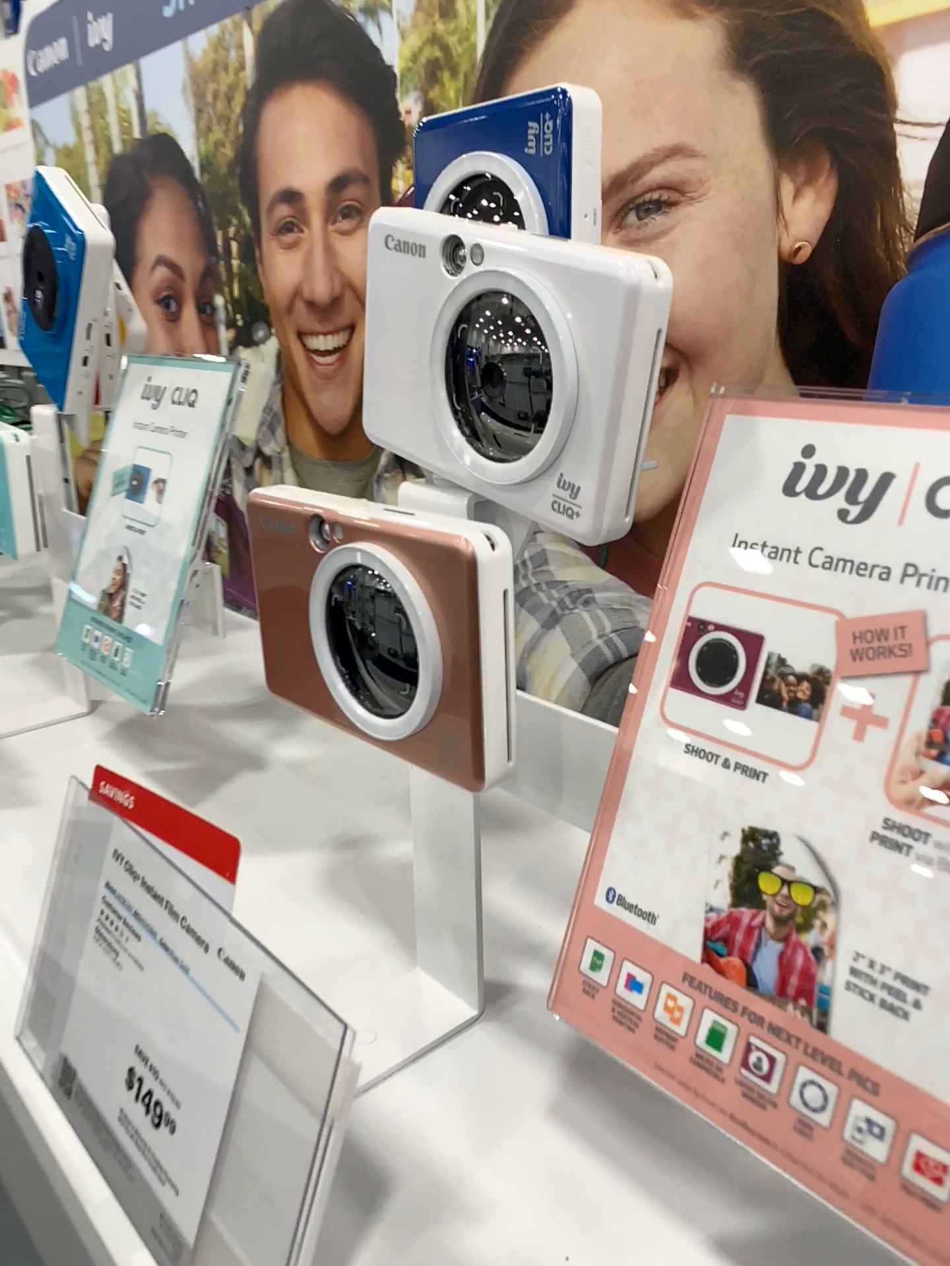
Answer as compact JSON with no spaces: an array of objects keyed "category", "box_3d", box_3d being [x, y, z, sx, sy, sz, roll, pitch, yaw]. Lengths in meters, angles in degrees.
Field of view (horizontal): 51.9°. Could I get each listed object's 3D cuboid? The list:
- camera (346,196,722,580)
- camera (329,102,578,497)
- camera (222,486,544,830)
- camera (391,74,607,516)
[{"category":"camera","box_3d":[0.010,-0.082,0.310,0.030,0.090,0.120,-17,35,-41]},{"category":"camera","box_3d":[-0.013,-0.126,0.382,0.030,0.120,0.080,-13,-9,-32]},{"category":"camera","box_3d":[-0.033,0.001,0.314,0.030,0.080,0.120,-17,24,-41]},{"category":"camera","box_3d":[0.007,-0.113,0.341,0.030,0.129,0.080,-13,21,-32]}]
